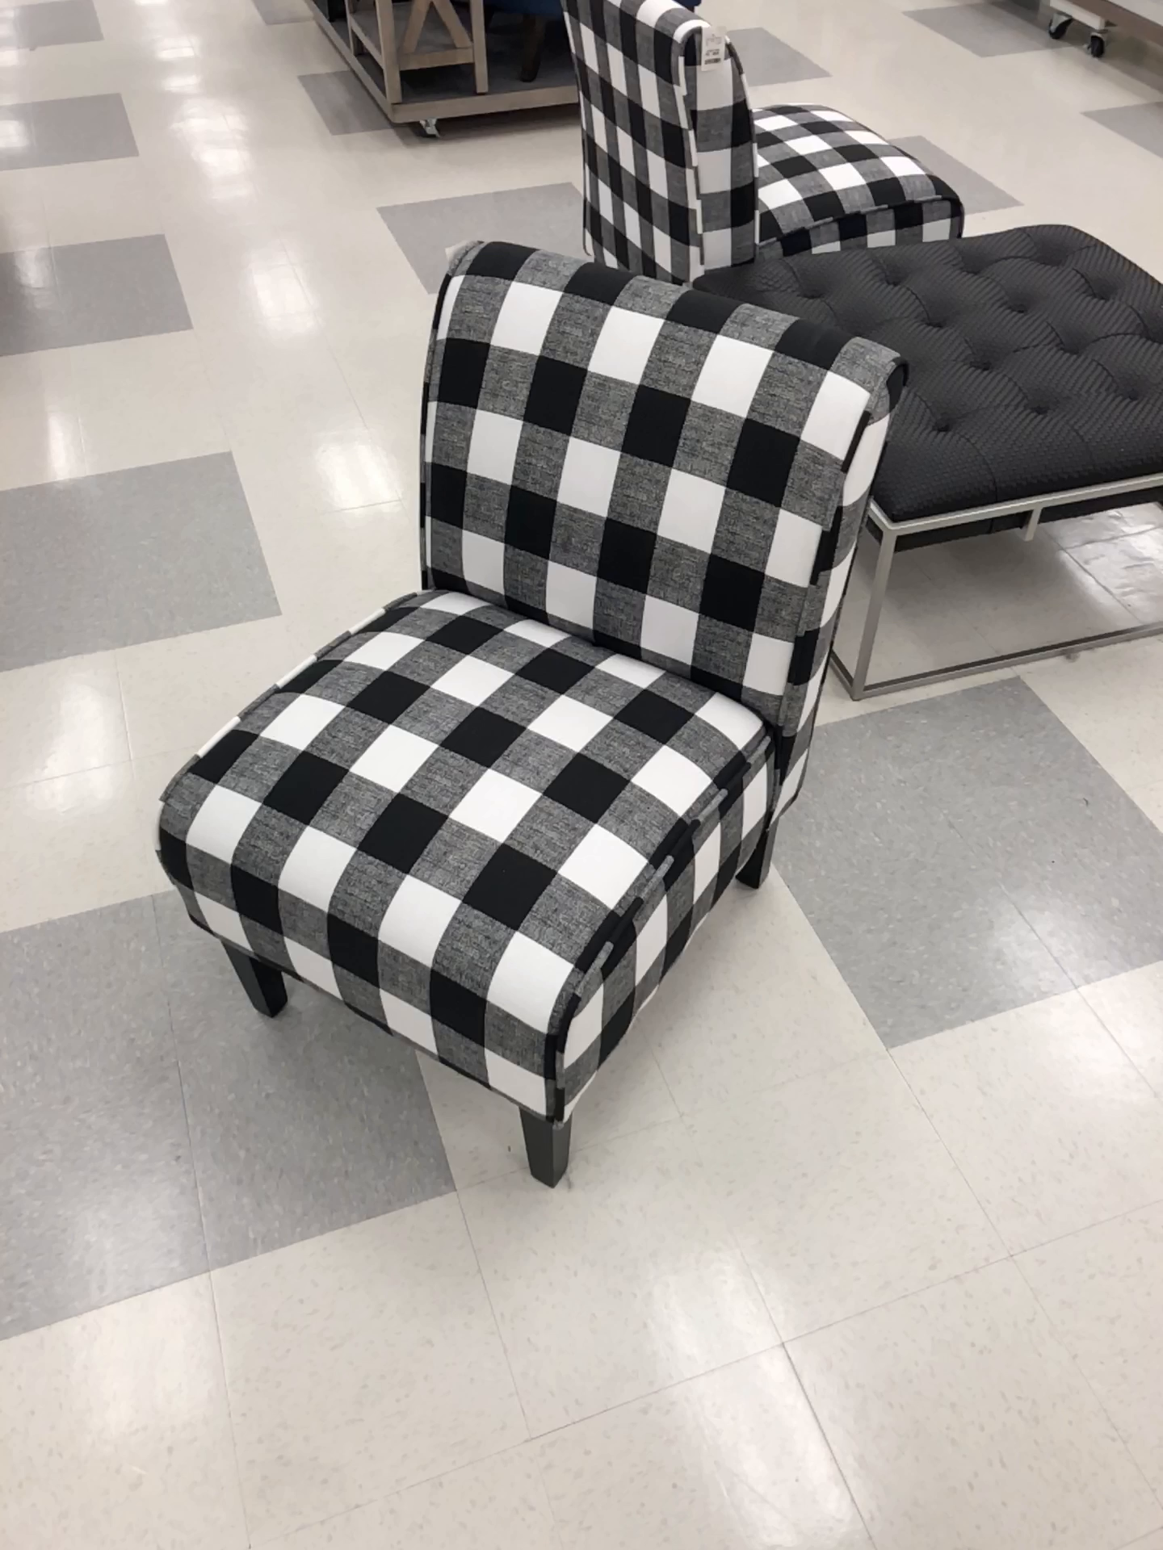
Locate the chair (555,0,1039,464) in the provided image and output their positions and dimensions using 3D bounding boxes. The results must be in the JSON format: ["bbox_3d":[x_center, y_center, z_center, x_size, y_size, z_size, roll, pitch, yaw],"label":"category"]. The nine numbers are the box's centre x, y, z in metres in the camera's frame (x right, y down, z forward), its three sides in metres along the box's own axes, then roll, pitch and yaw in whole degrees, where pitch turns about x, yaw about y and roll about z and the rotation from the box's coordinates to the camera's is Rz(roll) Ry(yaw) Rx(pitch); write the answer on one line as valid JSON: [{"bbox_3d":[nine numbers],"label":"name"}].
[{"bbox_3d":[0.392,-1.260,2.745,0.729,0.833,0.627,-14,47,-13],"label":"chair"}]

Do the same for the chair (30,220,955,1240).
[{"bbox_3d":[-0.054,-0.067,1.550,0.625,0.833,0.702,24,50,22],"label":"chair"}]
